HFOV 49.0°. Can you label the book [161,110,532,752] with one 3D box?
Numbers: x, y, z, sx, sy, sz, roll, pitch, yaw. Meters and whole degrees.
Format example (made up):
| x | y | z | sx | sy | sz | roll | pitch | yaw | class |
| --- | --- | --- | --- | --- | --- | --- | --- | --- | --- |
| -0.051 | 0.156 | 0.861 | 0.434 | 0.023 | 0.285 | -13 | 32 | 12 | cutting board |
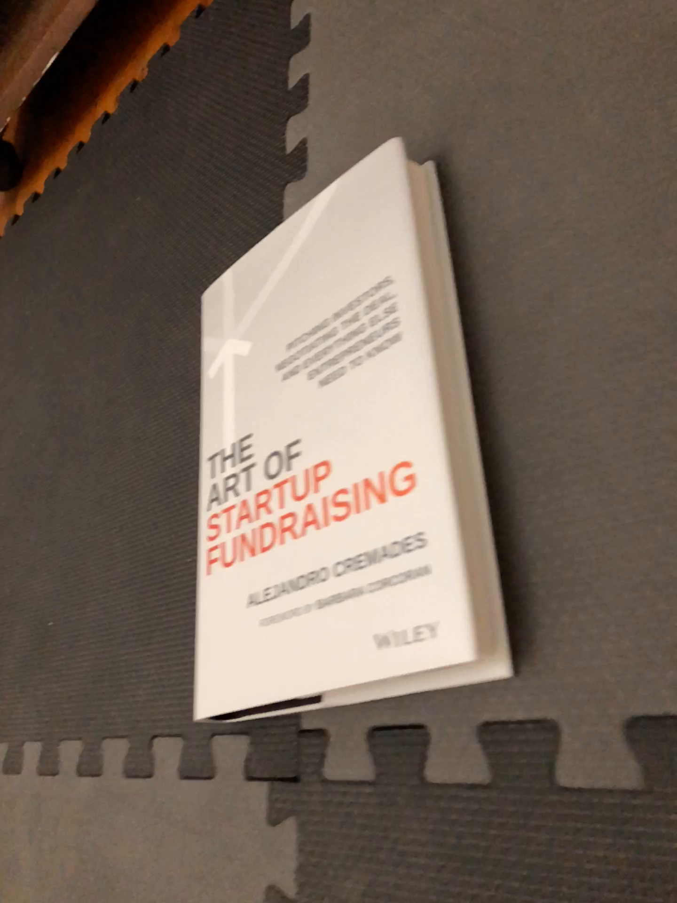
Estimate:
| x | y | z | sx | sy | sz | roll | pitch | yaw | class |
| --- | --- | --- | --- | --- | --- | --- | --- | --- | --- |
| -0.012 | -0.004 | 0.336 | 0.170 | 0.030 | 0.251 | -25 | 57 | 40 | book |
